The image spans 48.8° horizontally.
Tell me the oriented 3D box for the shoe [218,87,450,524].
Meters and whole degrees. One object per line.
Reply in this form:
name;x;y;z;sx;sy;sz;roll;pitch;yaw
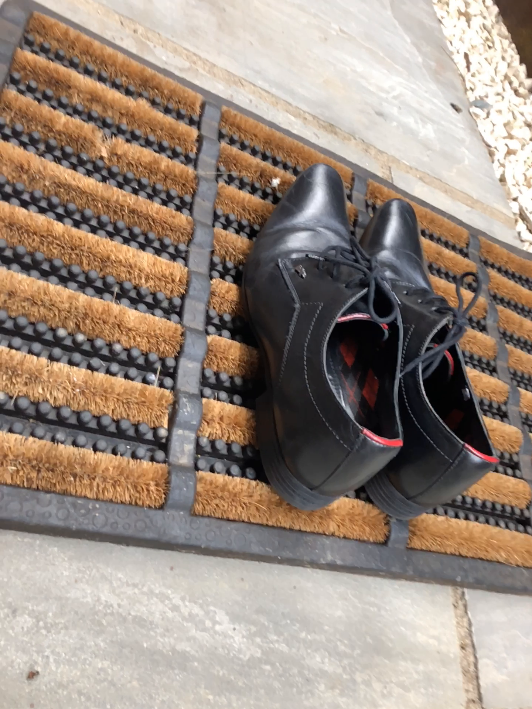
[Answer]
shoe;0.042;-0.044;0.435;0.100;0.099;0.301;19;54;-26

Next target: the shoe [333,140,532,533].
shoe;0.131;-0.022;0.488;0.100;0.099;0.301;19;54;-26
